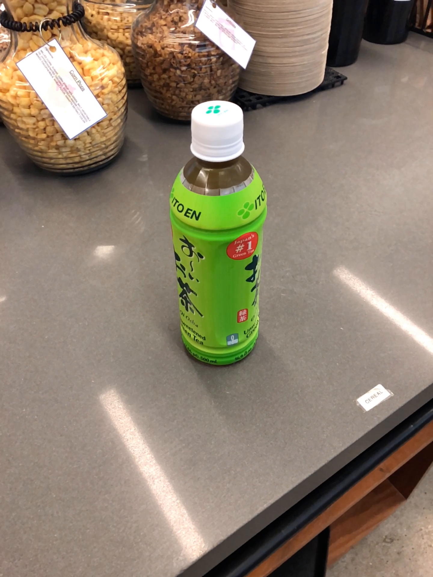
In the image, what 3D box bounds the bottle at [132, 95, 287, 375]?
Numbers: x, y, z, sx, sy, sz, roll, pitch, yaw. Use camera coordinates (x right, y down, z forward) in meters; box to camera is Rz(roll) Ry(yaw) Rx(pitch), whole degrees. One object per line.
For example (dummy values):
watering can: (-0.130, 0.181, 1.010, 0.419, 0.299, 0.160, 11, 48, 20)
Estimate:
bottle: (-0.002, -0.027, 0.343, 0.080, 0.189, 0.080, -1, 46, 1)
